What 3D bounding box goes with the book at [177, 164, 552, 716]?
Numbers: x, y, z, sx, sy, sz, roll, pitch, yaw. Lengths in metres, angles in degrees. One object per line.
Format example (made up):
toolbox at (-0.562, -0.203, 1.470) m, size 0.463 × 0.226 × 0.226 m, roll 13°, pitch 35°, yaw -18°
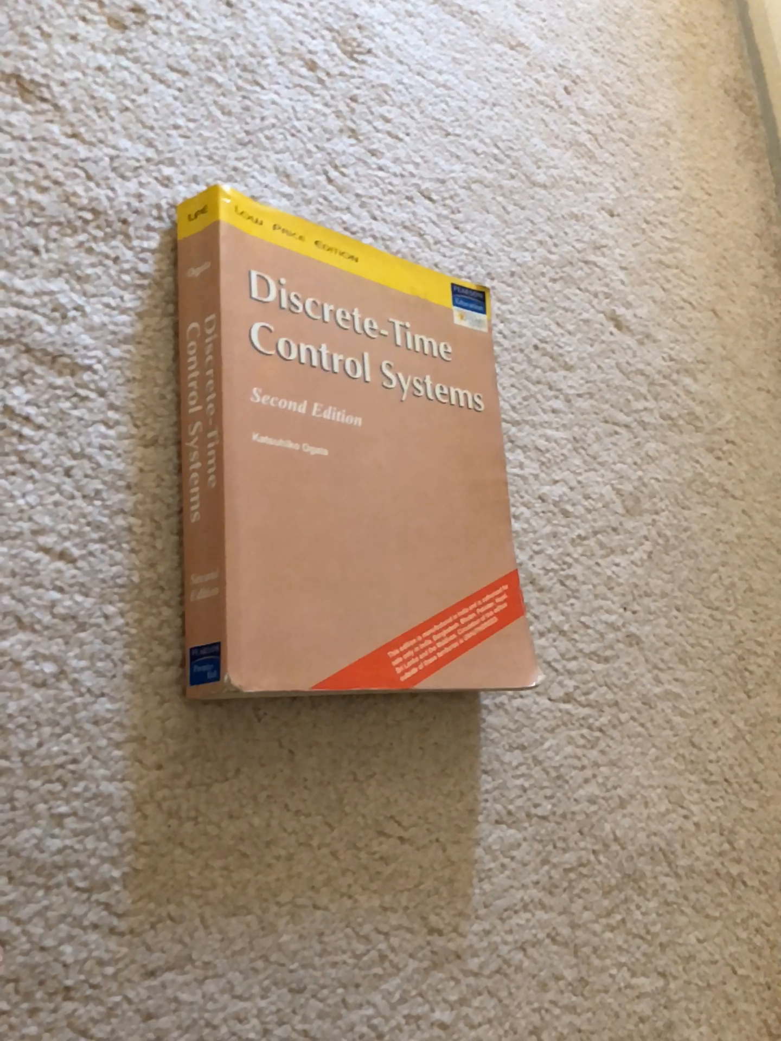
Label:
book at (-0.009, -0.031, 0.426) m, size 0.187 × 0.035 × 0.238 m, roll 8°, pitch 70°, yaw -40°
